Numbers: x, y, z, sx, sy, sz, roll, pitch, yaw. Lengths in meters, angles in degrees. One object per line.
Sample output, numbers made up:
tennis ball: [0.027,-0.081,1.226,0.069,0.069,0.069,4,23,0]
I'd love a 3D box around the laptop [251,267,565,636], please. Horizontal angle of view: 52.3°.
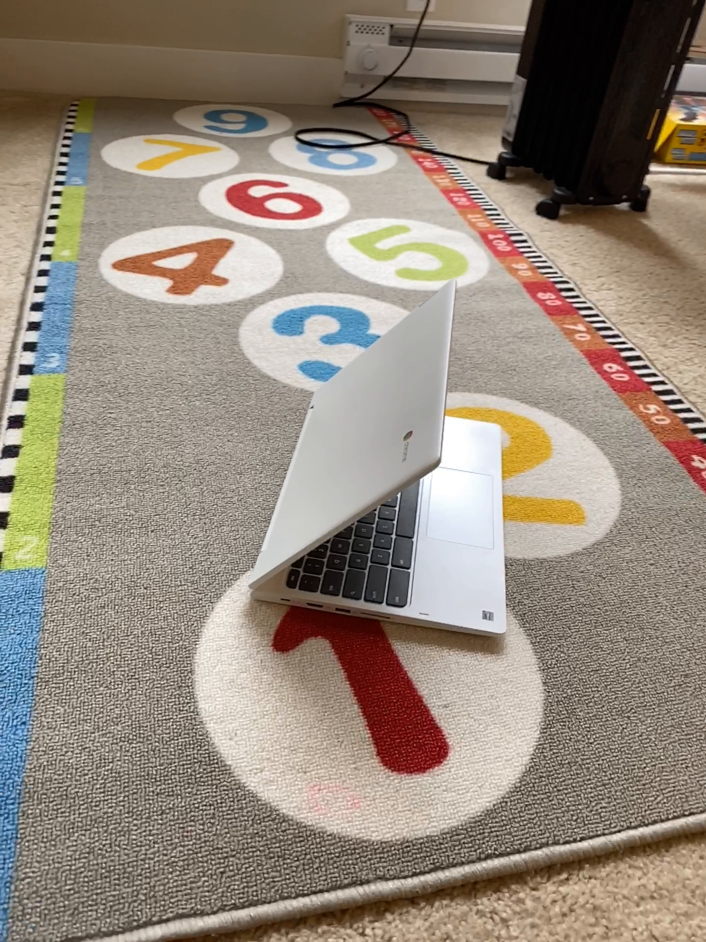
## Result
laptop: [0.051,-0.037,0.659,0.216,0.162,0.300,9,39,3]
